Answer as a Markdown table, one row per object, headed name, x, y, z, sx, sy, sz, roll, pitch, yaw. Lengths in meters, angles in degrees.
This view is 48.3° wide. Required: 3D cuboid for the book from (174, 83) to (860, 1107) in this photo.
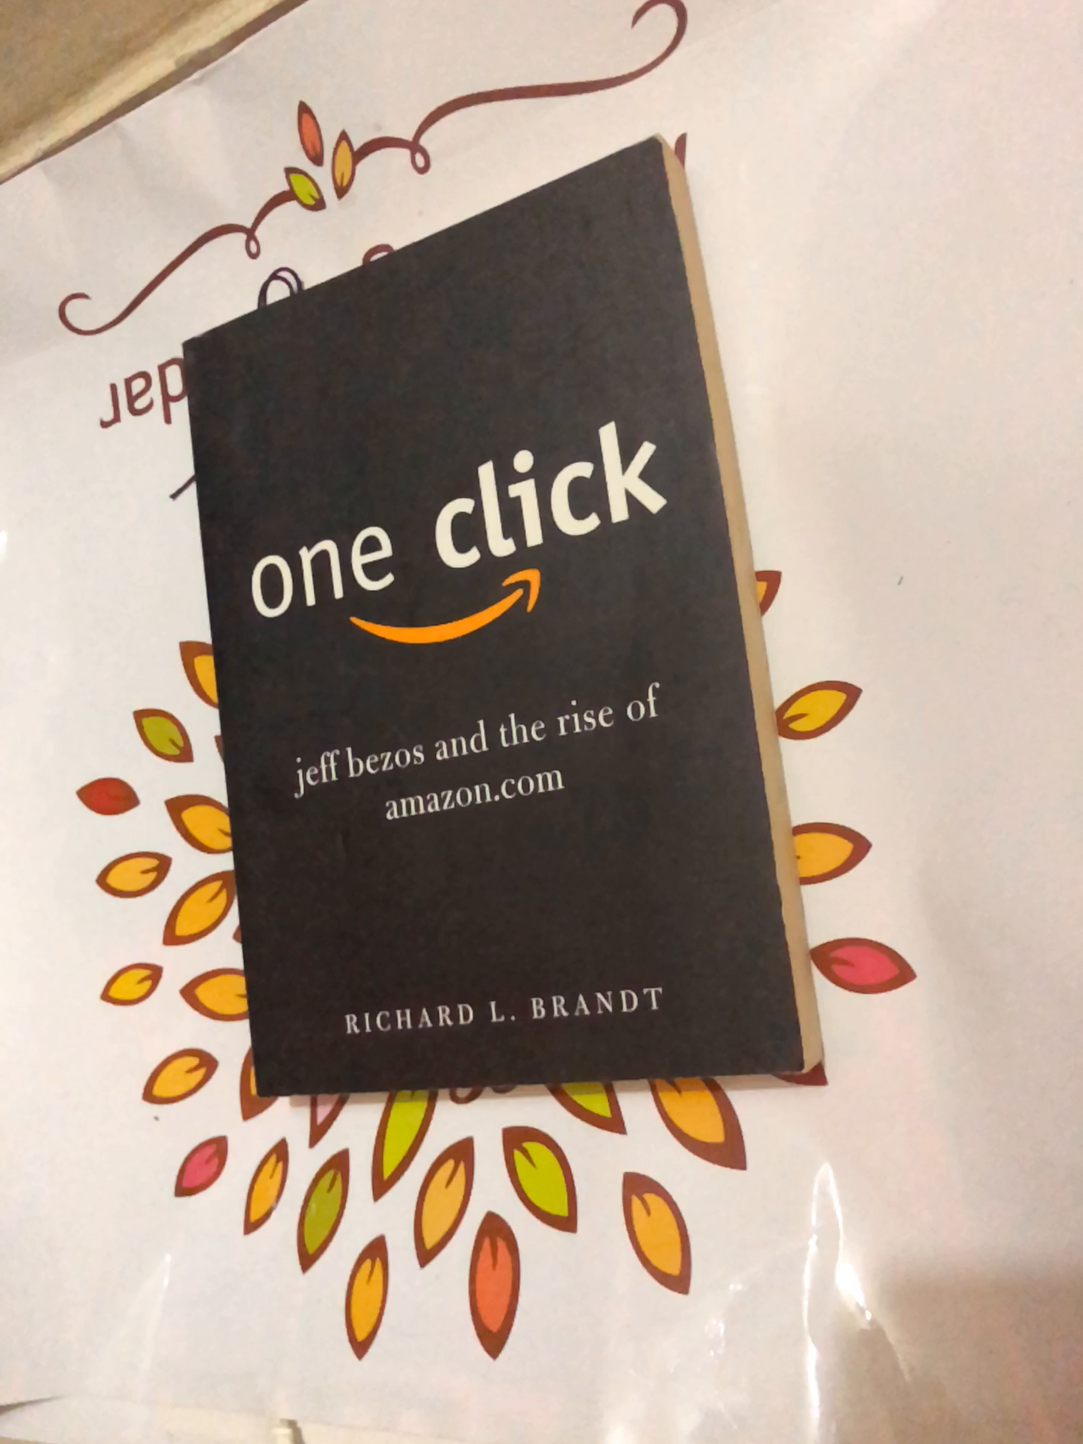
| name | x | y | z | sx | sy | sz | roll | pitch | yaw |
| --- | --- | --- | --- | --- | --- | --- | --- | --- | --- |
| book | -0.021 | -0.023 | 0.304 | 0.160 | 0.020 | 0.220 | -14 | 76 | 28 |
